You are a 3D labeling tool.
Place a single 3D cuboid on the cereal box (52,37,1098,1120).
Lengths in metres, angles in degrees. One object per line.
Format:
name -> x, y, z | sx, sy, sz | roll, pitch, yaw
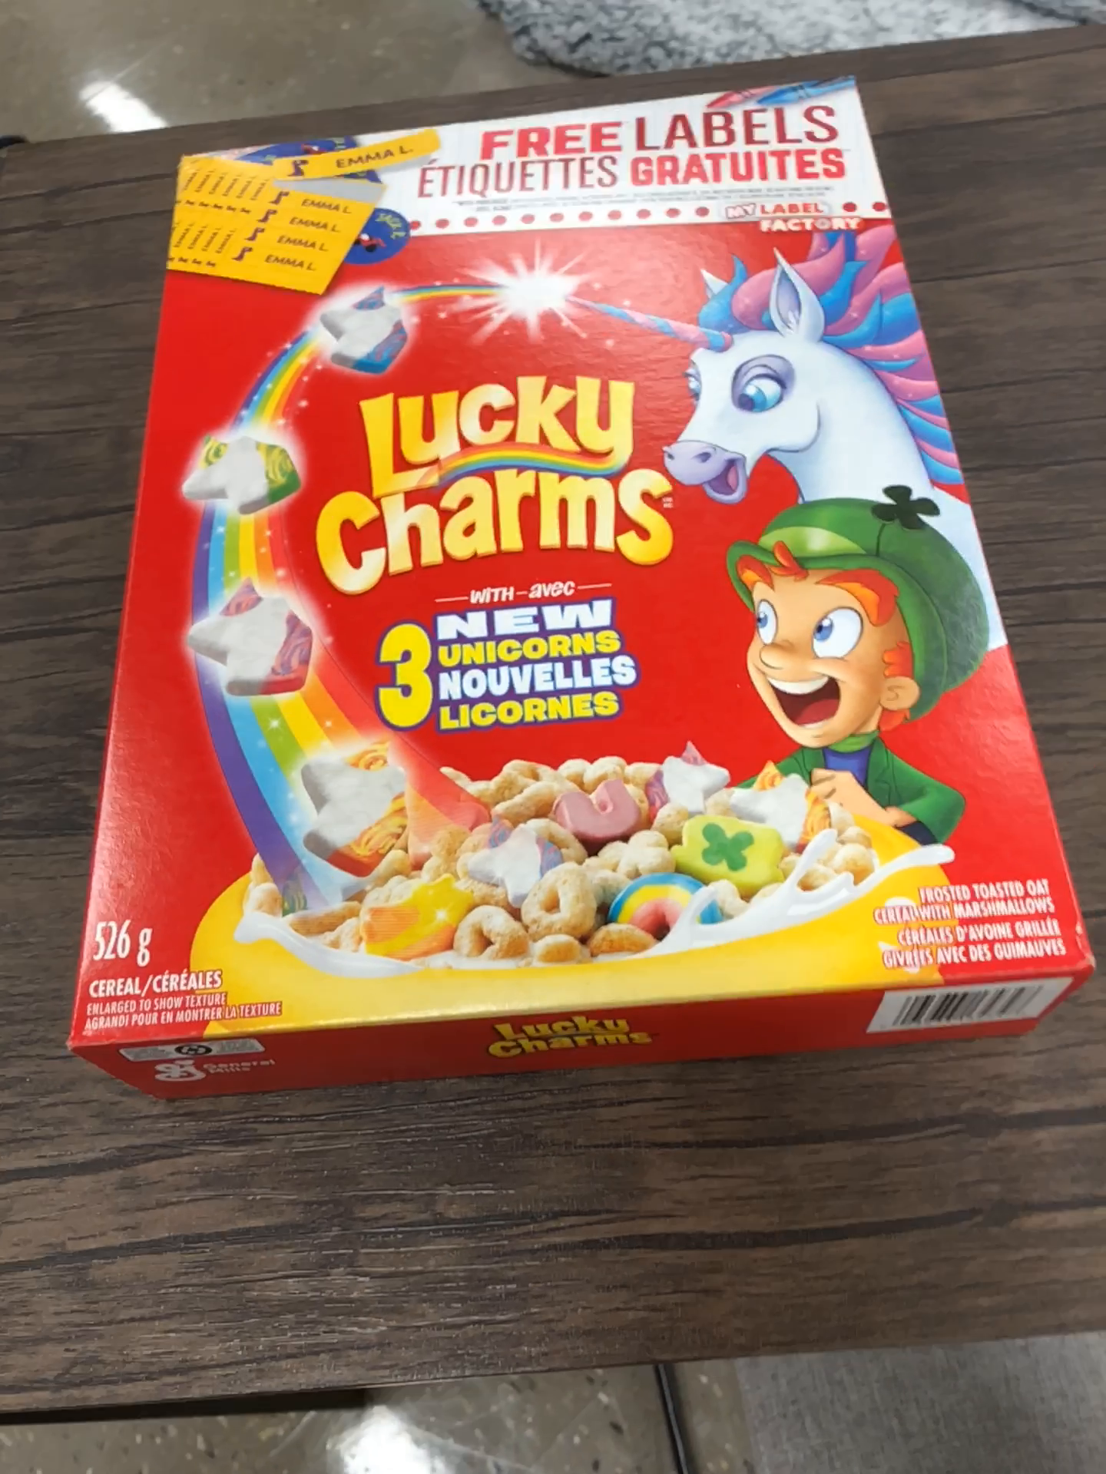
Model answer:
cereal box -> -0.004, -0.067, 0.384 | 0.230, 0.080, 0.330 | -5, 61, 3
